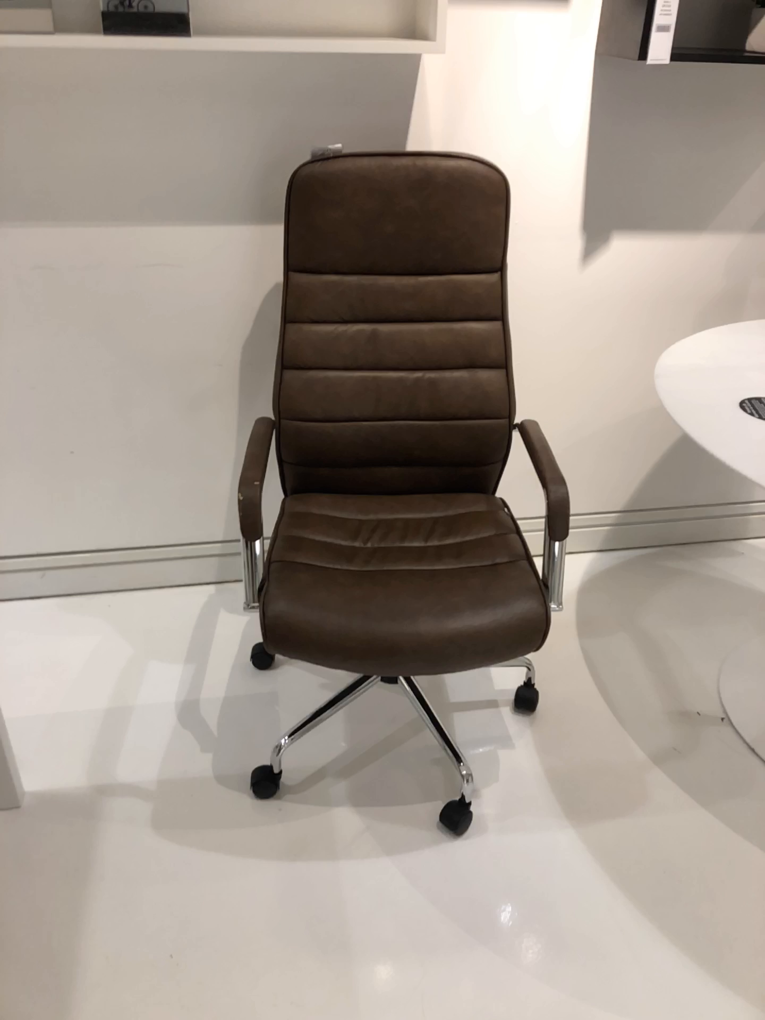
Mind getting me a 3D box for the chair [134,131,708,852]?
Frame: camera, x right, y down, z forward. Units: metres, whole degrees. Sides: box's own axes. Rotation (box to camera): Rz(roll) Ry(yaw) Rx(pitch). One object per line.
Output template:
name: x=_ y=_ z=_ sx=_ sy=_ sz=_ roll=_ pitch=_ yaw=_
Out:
chair: x=0.029 y=-0.053 z=1.651 sx=0.700 sy=1.171 sz=0.786 roll=0 pitch=30 yaw=-2
